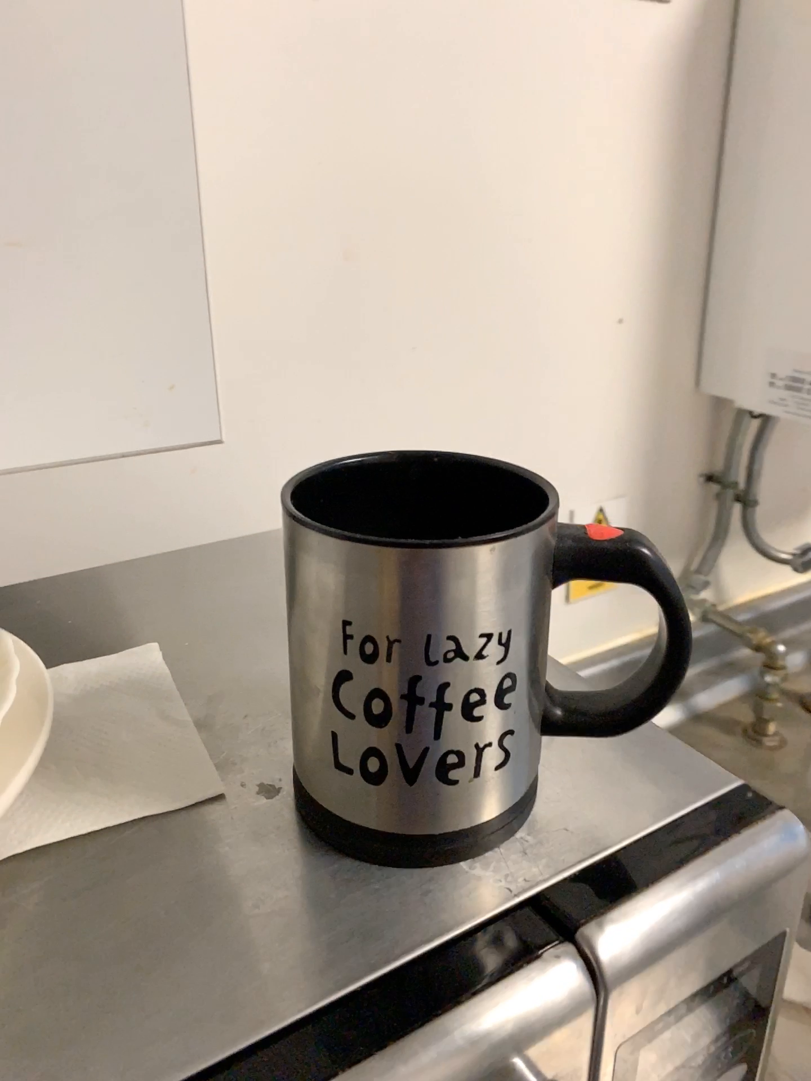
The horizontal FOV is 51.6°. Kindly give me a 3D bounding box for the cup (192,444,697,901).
[{"bbox_3d":[0.015,0.035,0.282,0.133,0.108,0.096,3,21,9],"label":"cup"}]
